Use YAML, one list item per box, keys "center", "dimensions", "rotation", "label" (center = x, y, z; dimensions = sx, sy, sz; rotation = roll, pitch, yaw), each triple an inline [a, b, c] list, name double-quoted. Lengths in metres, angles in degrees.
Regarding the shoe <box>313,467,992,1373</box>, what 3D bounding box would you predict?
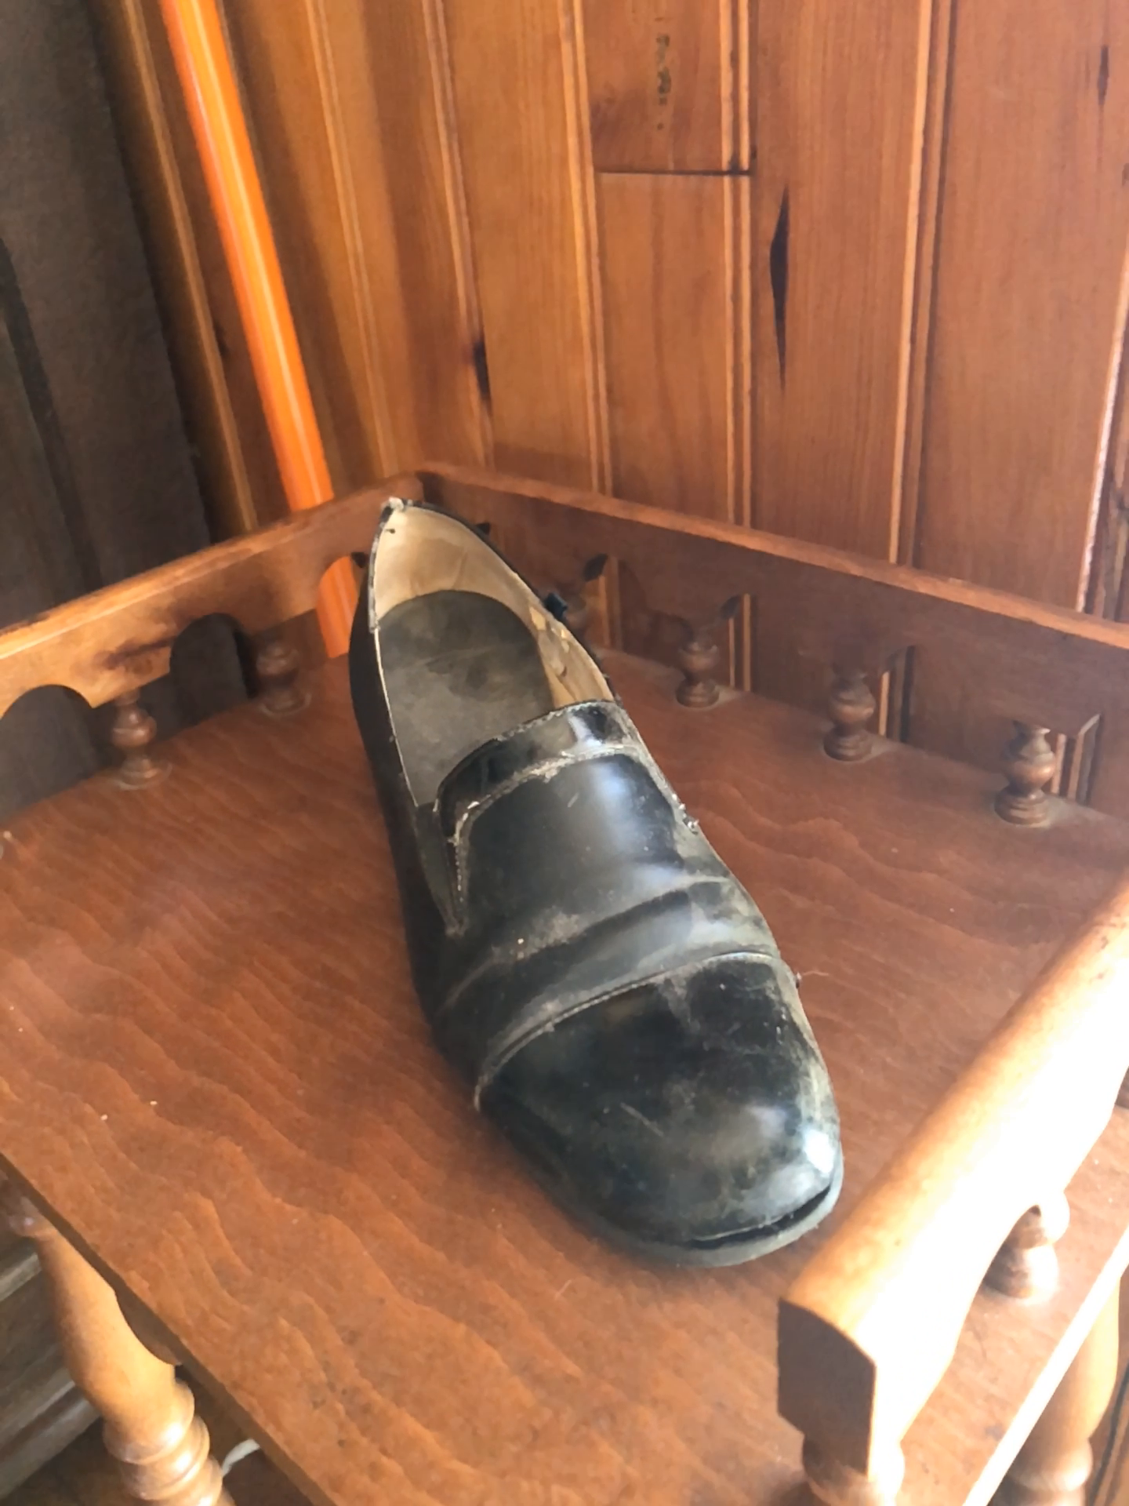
- center: [-0.001, 0.012, 0.346]
  dimensions: [0.100, 0.089, 0.261]
  rotation: [-11, 32, -10]
  label: "shoe"
